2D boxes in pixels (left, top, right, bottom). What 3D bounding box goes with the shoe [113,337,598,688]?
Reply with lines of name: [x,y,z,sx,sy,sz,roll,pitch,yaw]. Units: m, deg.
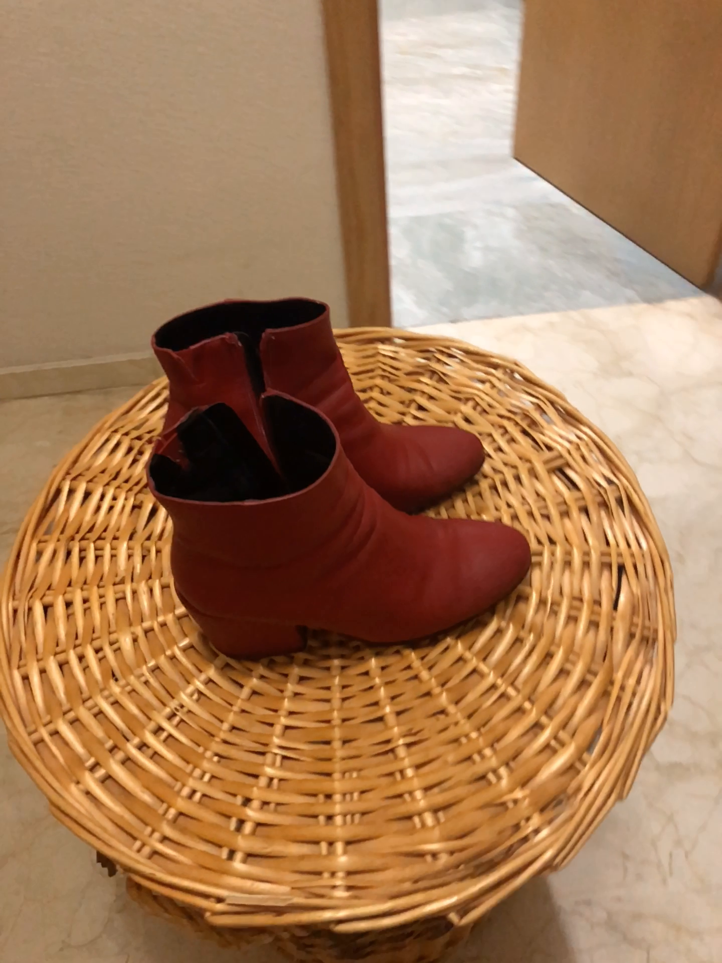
shoe: [-0.001,0.027,0.500,0.244,0.184,0.099,-7,49,-1]

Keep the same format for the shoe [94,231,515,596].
shoe: [-0.033,-0.043,0.562,0.244,0.184,0.099,-15,50,-8]
